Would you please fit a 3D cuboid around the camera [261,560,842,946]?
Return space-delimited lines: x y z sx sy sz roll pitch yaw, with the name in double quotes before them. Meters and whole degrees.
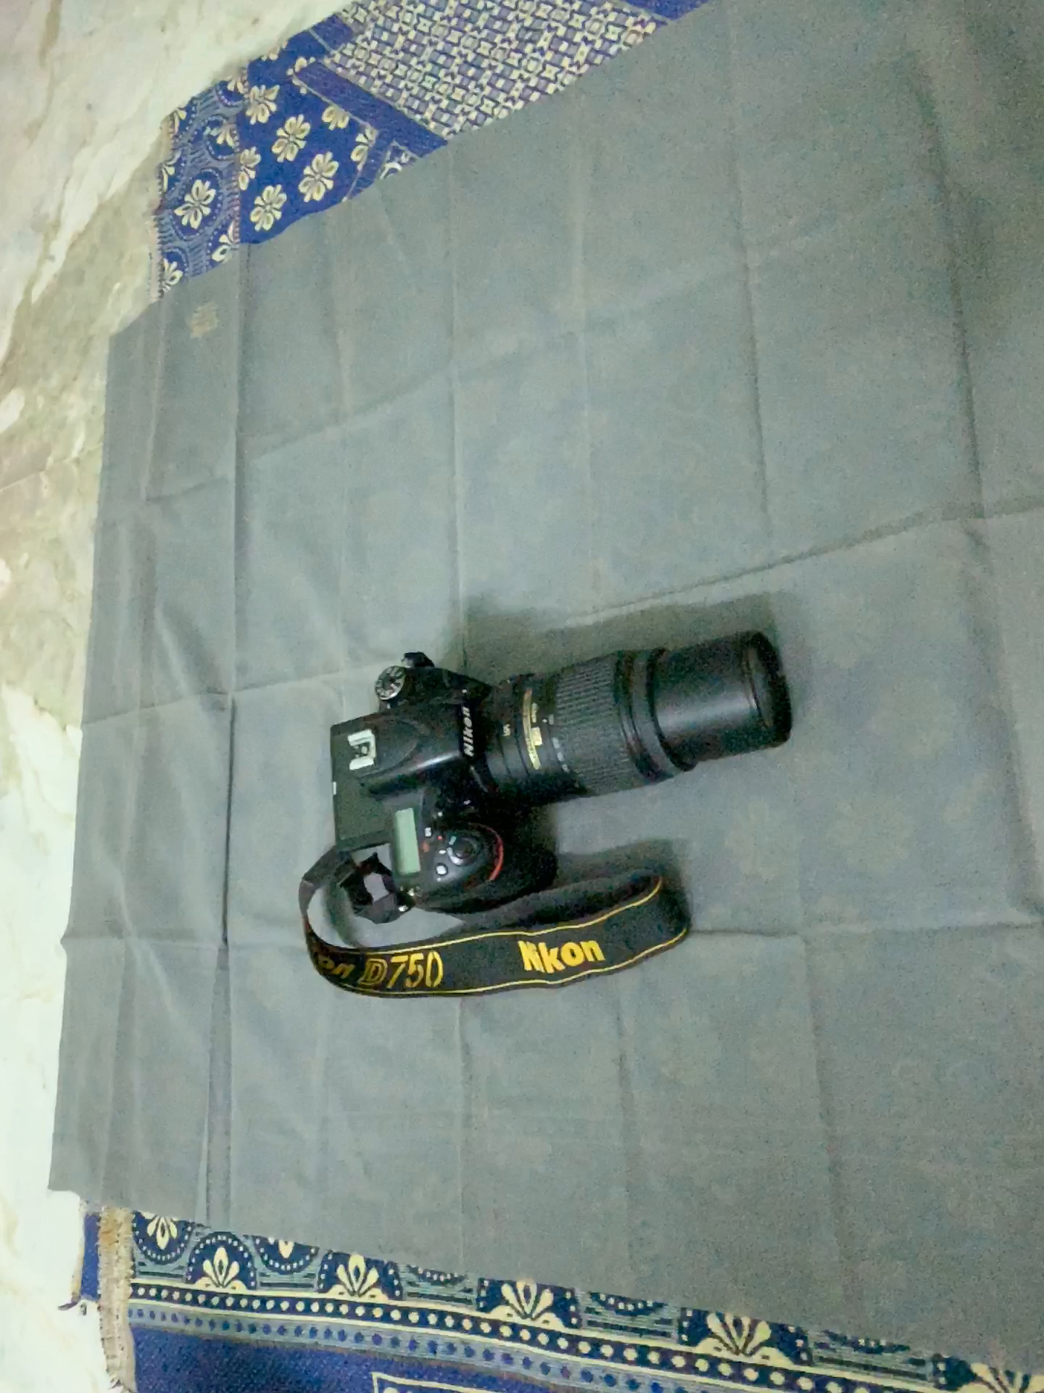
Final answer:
"camera" 0.001 0.048 0.571 0.289 0.110 0.147 -13 73 33
